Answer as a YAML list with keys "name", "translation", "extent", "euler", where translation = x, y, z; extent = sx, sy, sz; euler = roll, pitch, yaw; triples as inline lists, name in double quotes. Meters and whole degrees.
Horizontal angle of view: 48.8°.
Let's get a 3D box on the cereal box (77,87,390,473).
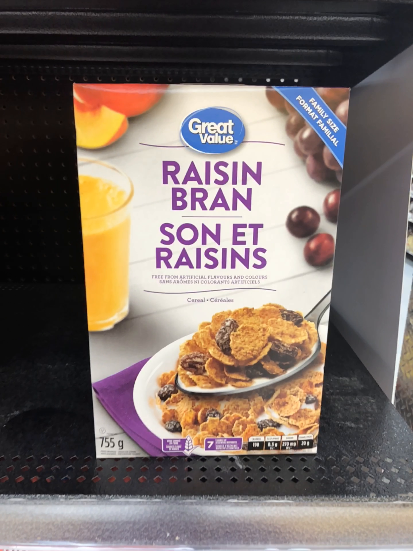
- name: "cereal box"
  translation: [0.015, 0.011, 0.379]
  extent: [0.210, 0.299, 0.070]
  euler: [0, 16, -4]
